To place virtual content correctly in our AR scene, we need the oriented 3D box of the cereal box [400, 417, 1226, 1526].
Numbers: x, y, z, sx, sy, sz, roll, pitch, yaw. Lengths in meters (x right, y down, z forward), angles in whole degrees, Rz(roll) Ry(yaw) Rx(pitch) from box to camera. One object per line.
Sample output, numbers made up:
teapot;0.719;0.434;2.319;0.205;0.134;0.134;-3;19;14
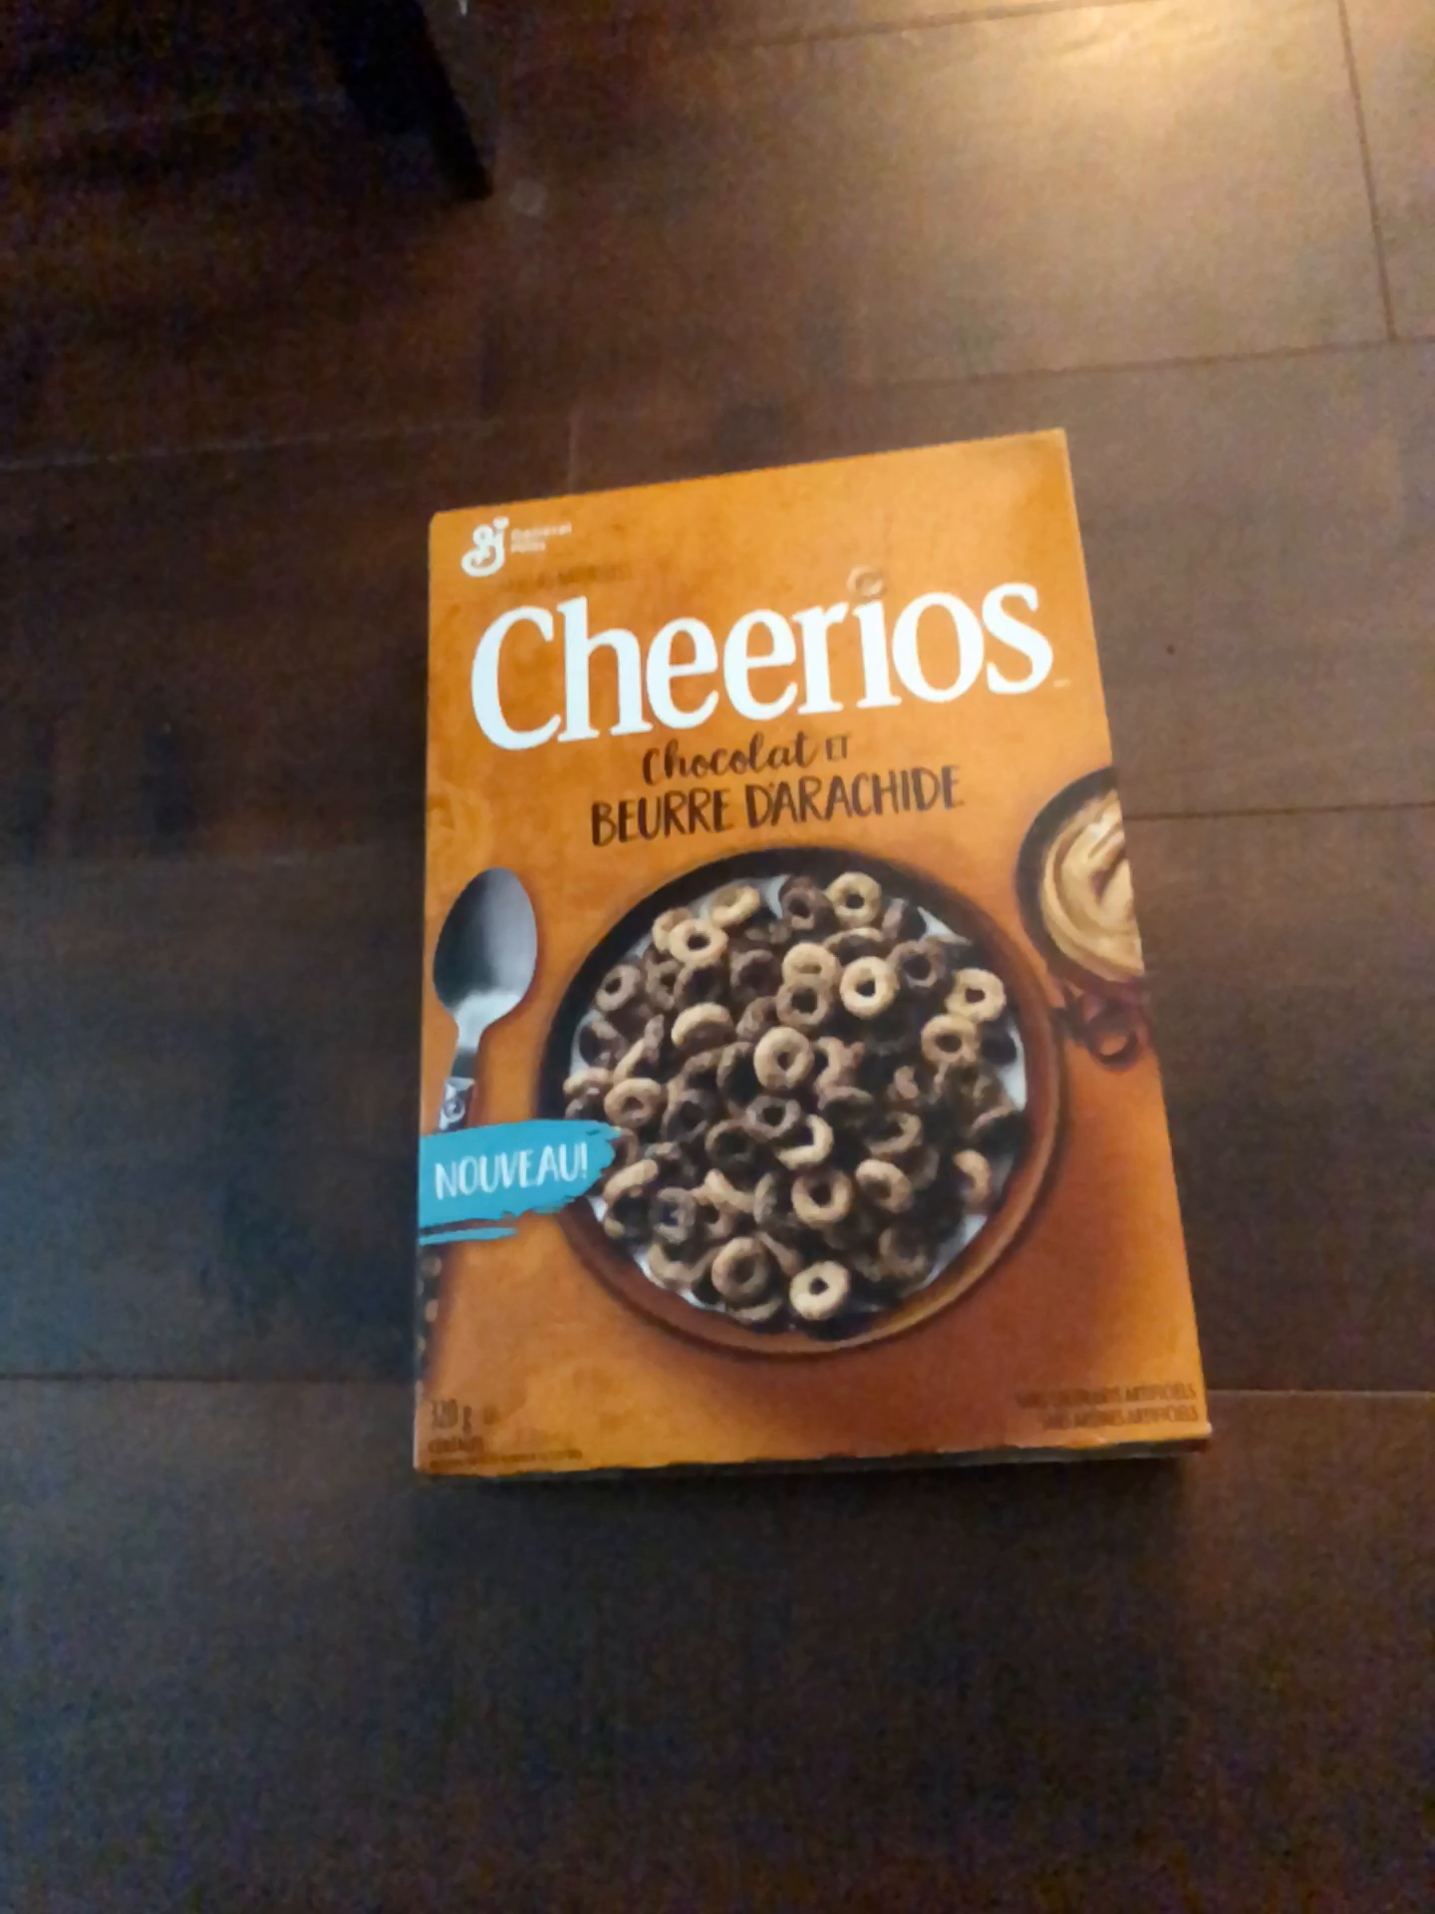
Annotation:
cereal box;0.017;0.001;0.460;0.200;0.060;0.300;-6;70;8
